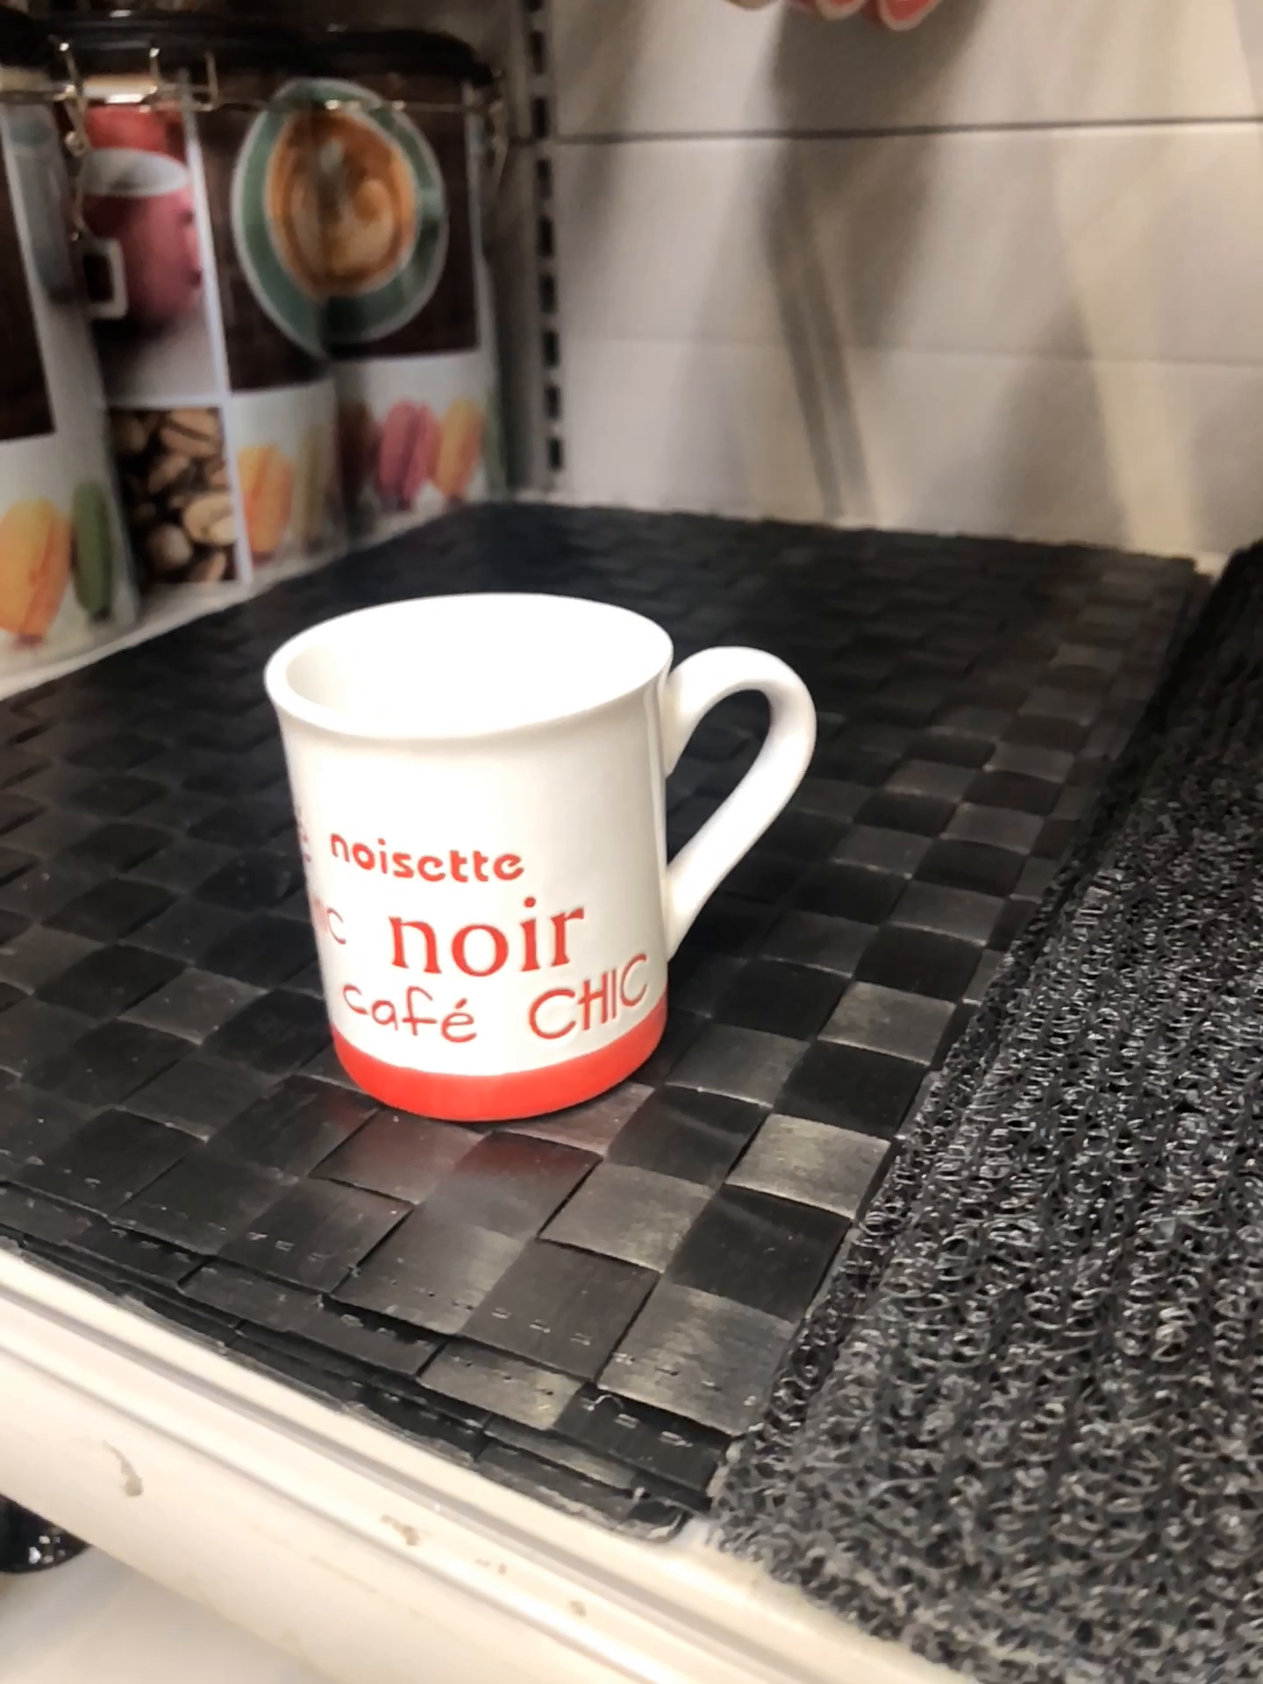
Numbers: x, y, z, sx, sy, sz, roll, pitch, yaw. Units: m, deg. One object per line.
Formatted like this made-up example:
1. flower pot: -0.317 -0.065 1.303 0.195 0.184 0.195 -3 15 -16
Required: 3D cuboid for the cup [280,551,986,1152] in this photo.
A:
1. cup: -0.002 -0.005 0.242 0.097 0.064 0.068 -11 28 -18
